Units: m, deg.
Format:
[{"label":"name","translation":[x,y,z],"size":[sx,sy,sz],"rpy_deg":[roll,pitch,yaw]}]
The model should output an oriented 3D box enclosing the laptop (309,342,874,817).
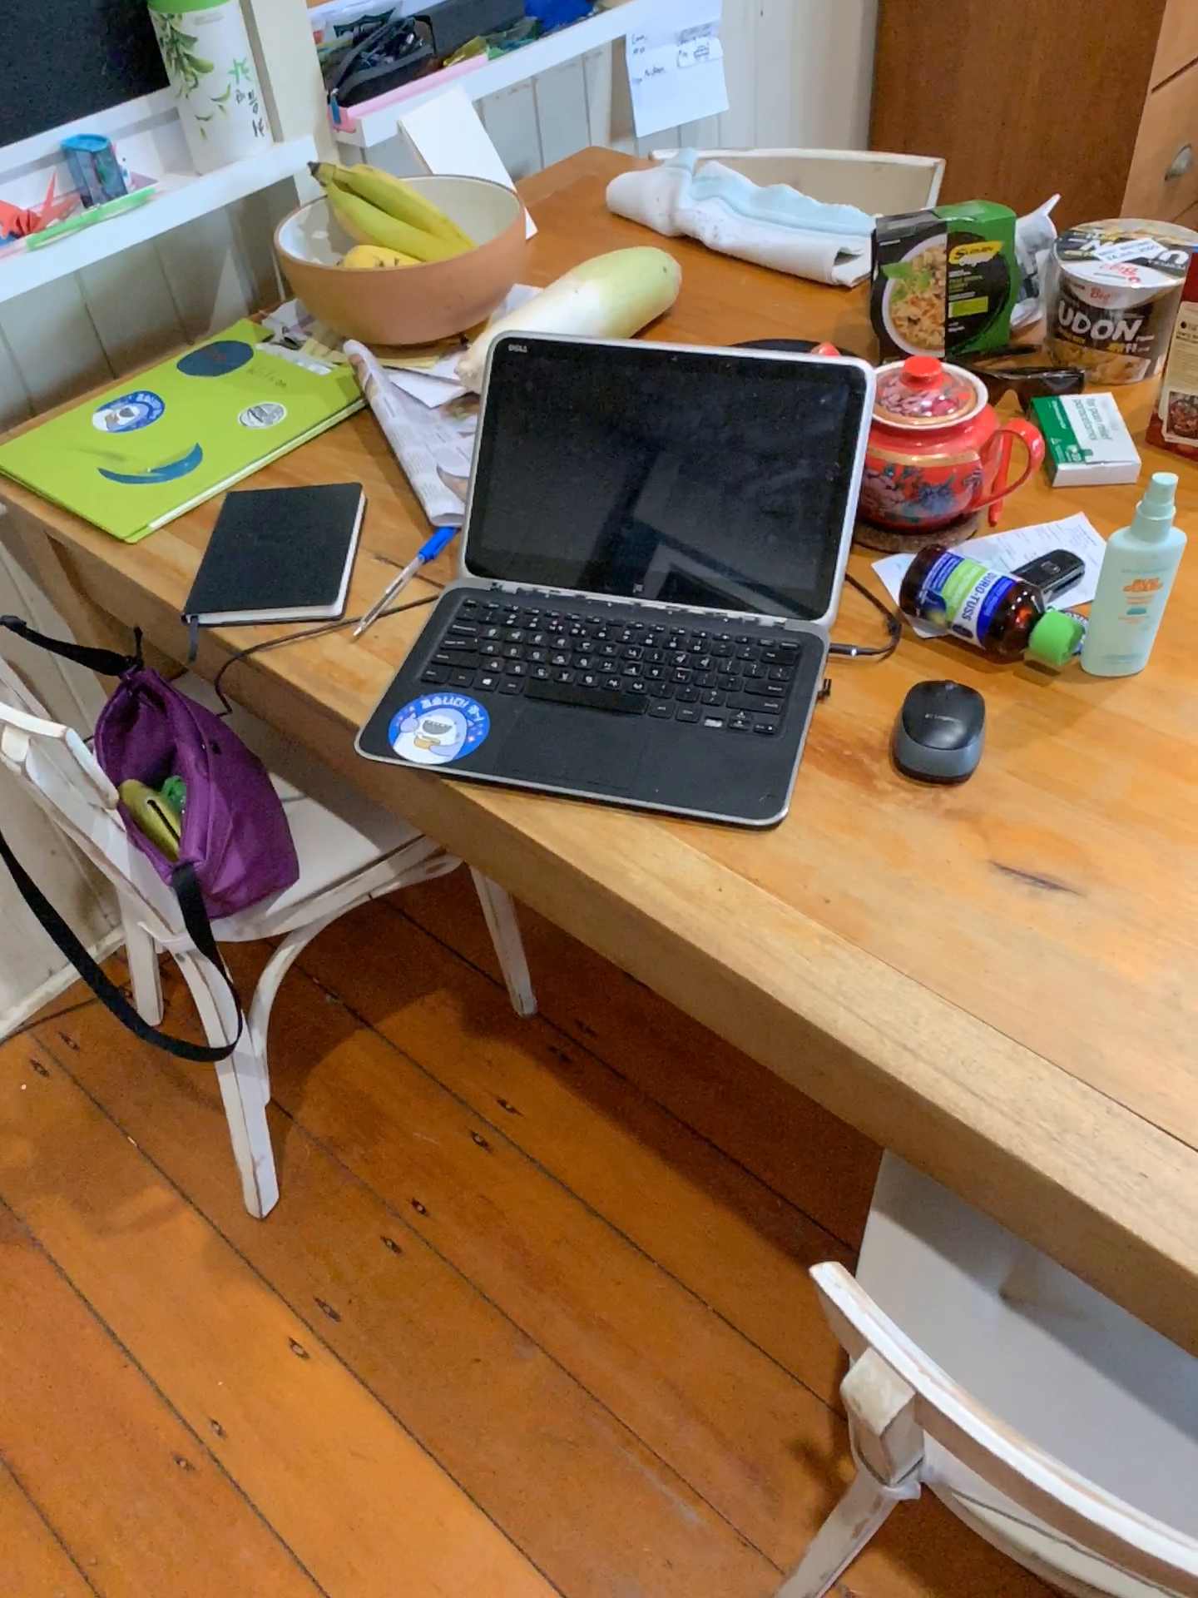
[{"label":"laptop","translation":[0.017,-0.179,0.897],"size":[0.303,0.139,0.340],"rpy_deg":[9,49,14]}]
